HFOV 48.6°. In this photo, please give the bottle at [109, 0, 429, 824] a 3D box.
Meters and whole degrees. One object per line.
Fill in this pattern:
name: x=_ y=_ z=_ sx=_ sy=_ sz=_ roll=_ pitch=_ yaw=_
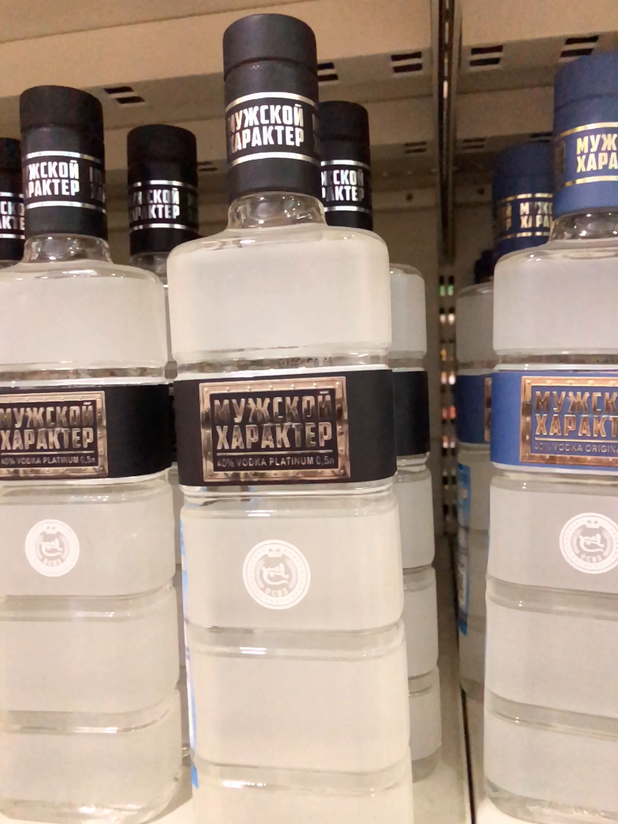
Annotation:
bottle: x=-0.007 y=0.013 z=0.236 sx=0.090 sy=0.290 sz=0.060 roll=-1 pitch=3 yaw=10
